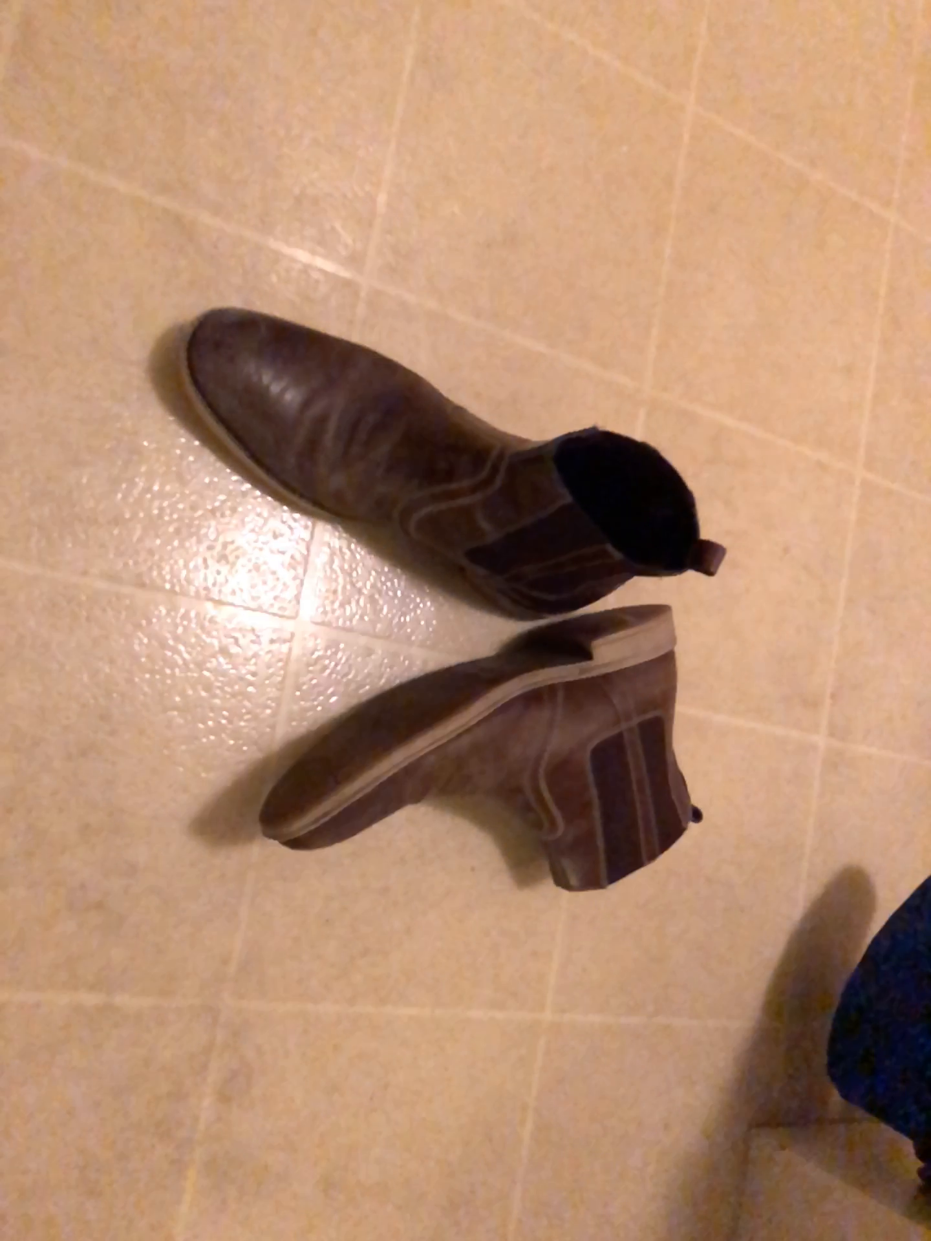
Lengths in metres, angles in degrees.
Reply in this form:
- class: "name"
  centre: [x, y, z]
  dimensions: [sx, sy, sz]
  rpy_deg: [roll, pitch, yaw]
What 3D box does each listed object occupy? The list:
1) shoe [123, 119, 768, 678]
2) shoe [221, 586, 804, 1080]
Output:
- class: "shoe"
  centre: [-0.010, -0.096, 0.576]
  dimensions: [0.314, 0.161, 0.111]
  rpy_deg: [34, 74, -22]
- class: "shoe"
  centre: [0.038, 0.106, 0.625]
  dimensions: [0.314, 0.111, 0.161]
  rpy_deg: [-22, 100, -26]
